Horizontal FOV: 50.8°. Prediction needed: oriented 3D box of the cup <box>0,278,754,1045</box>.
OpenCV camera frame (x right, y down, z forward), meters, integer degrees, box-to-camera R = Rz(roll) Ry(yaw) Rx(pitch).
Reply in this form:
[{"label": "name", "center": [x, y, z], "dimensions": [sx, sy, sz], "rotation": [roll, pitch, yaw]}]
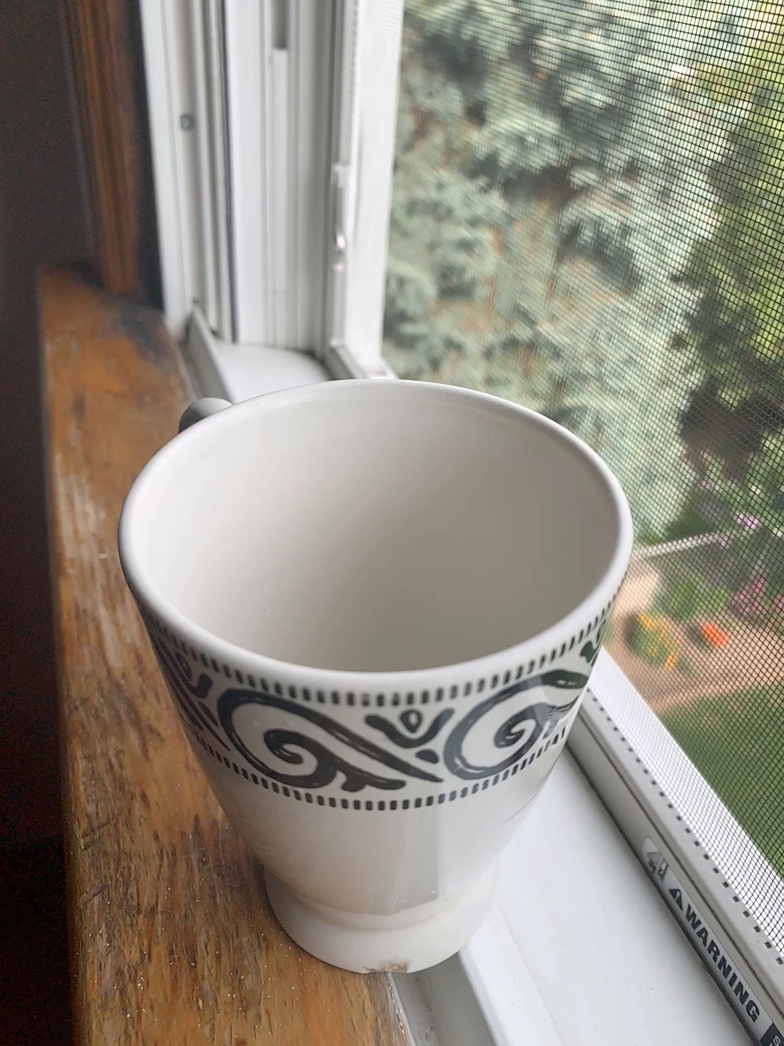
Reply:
[{"label": "cup", "center": [-0.020, 0.023, 0.167], "dimensions": [0.080, 0.089, 0.131], "rotation": [-23, 44, -29]}]
